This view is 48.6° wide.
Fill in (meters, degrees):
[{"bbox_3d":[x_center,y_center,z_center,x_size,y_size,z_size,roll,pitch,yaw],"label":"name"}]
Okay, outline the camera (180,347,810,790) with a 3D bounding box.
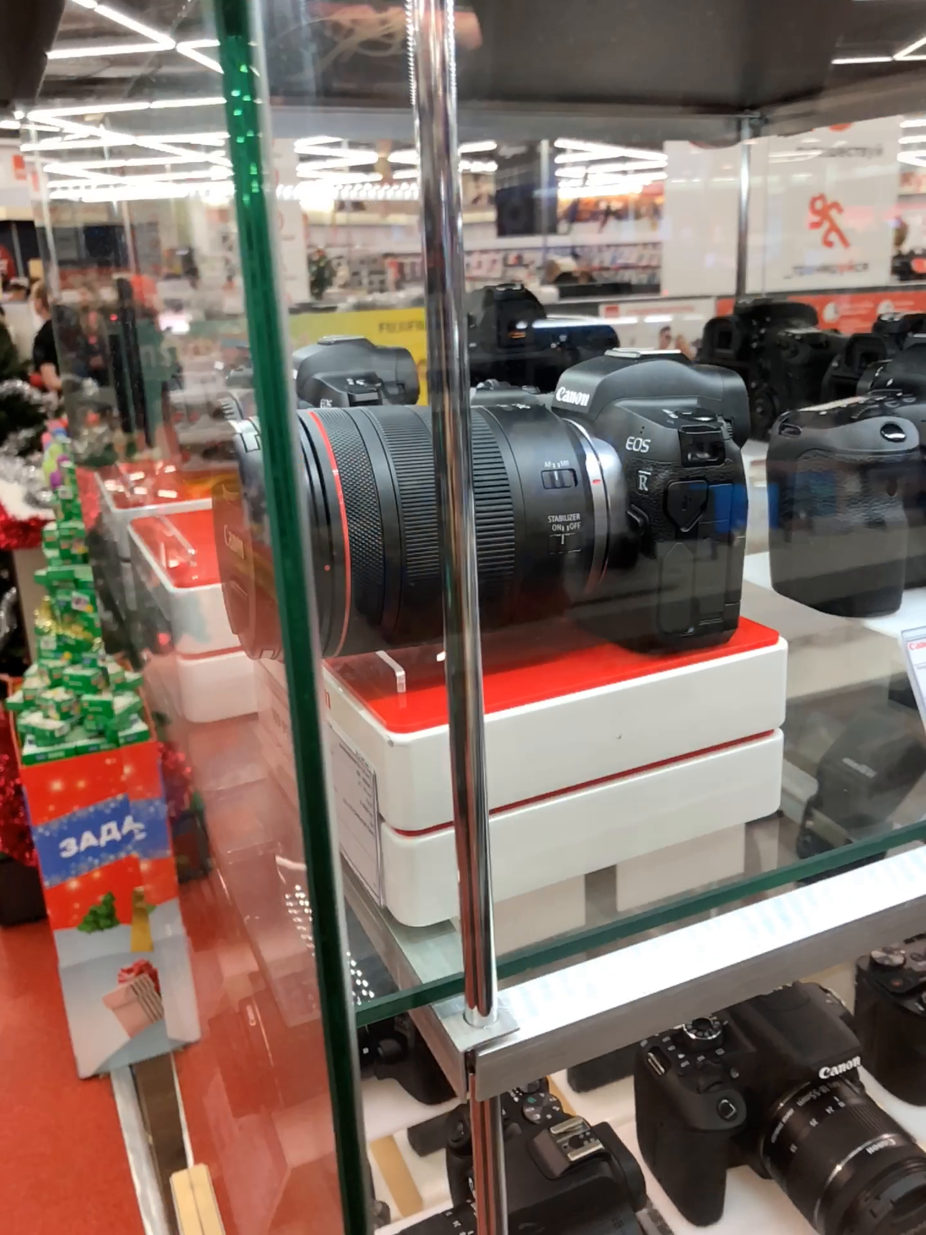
[{"bbox_3d":[0.005,-0.035,0.383,0.183,0.110,0.140,-10,20,-22],"label":"camera"}]
